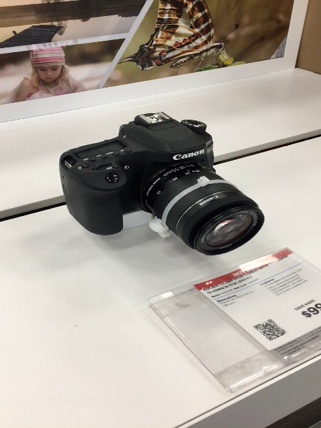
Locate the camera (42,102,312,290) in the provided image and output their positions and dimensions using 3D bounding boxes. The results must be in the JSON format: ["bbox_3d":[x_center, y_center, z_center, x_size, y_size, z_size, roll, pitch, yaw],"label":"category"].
[{"bbox_3d":[0.009,-0.026,0.387,0.158,0.094,0.140,-21,44,-23],"label":"camera"}]
